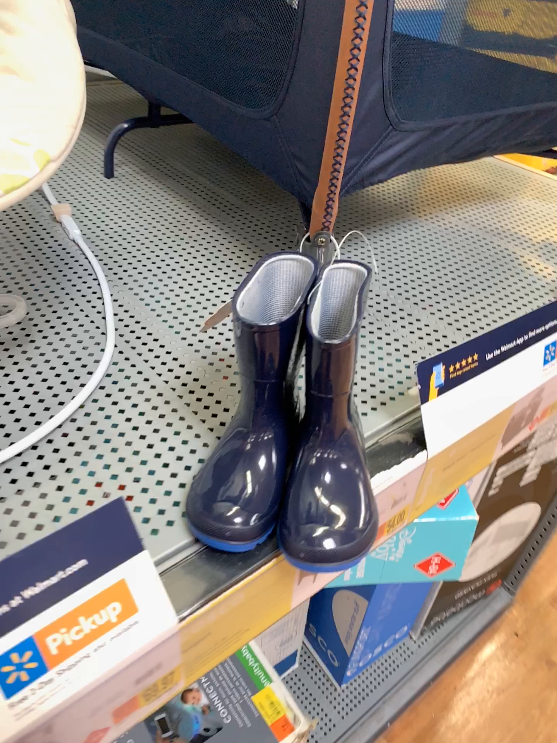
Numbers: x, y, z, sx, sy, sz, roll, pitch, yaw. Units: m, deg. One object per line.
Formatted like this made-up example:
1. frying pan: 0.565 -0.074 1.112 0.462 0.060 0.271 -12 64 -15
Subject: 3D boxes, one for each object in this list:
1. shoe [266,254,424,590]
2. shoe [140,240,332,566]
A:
1. shoe: 0.045 0.027 0.395 0.076 0.143 0.174 7 38 6
2. shoe: -0.019 0.014 0.406 0.074 0.143 0.174 10 38 10
